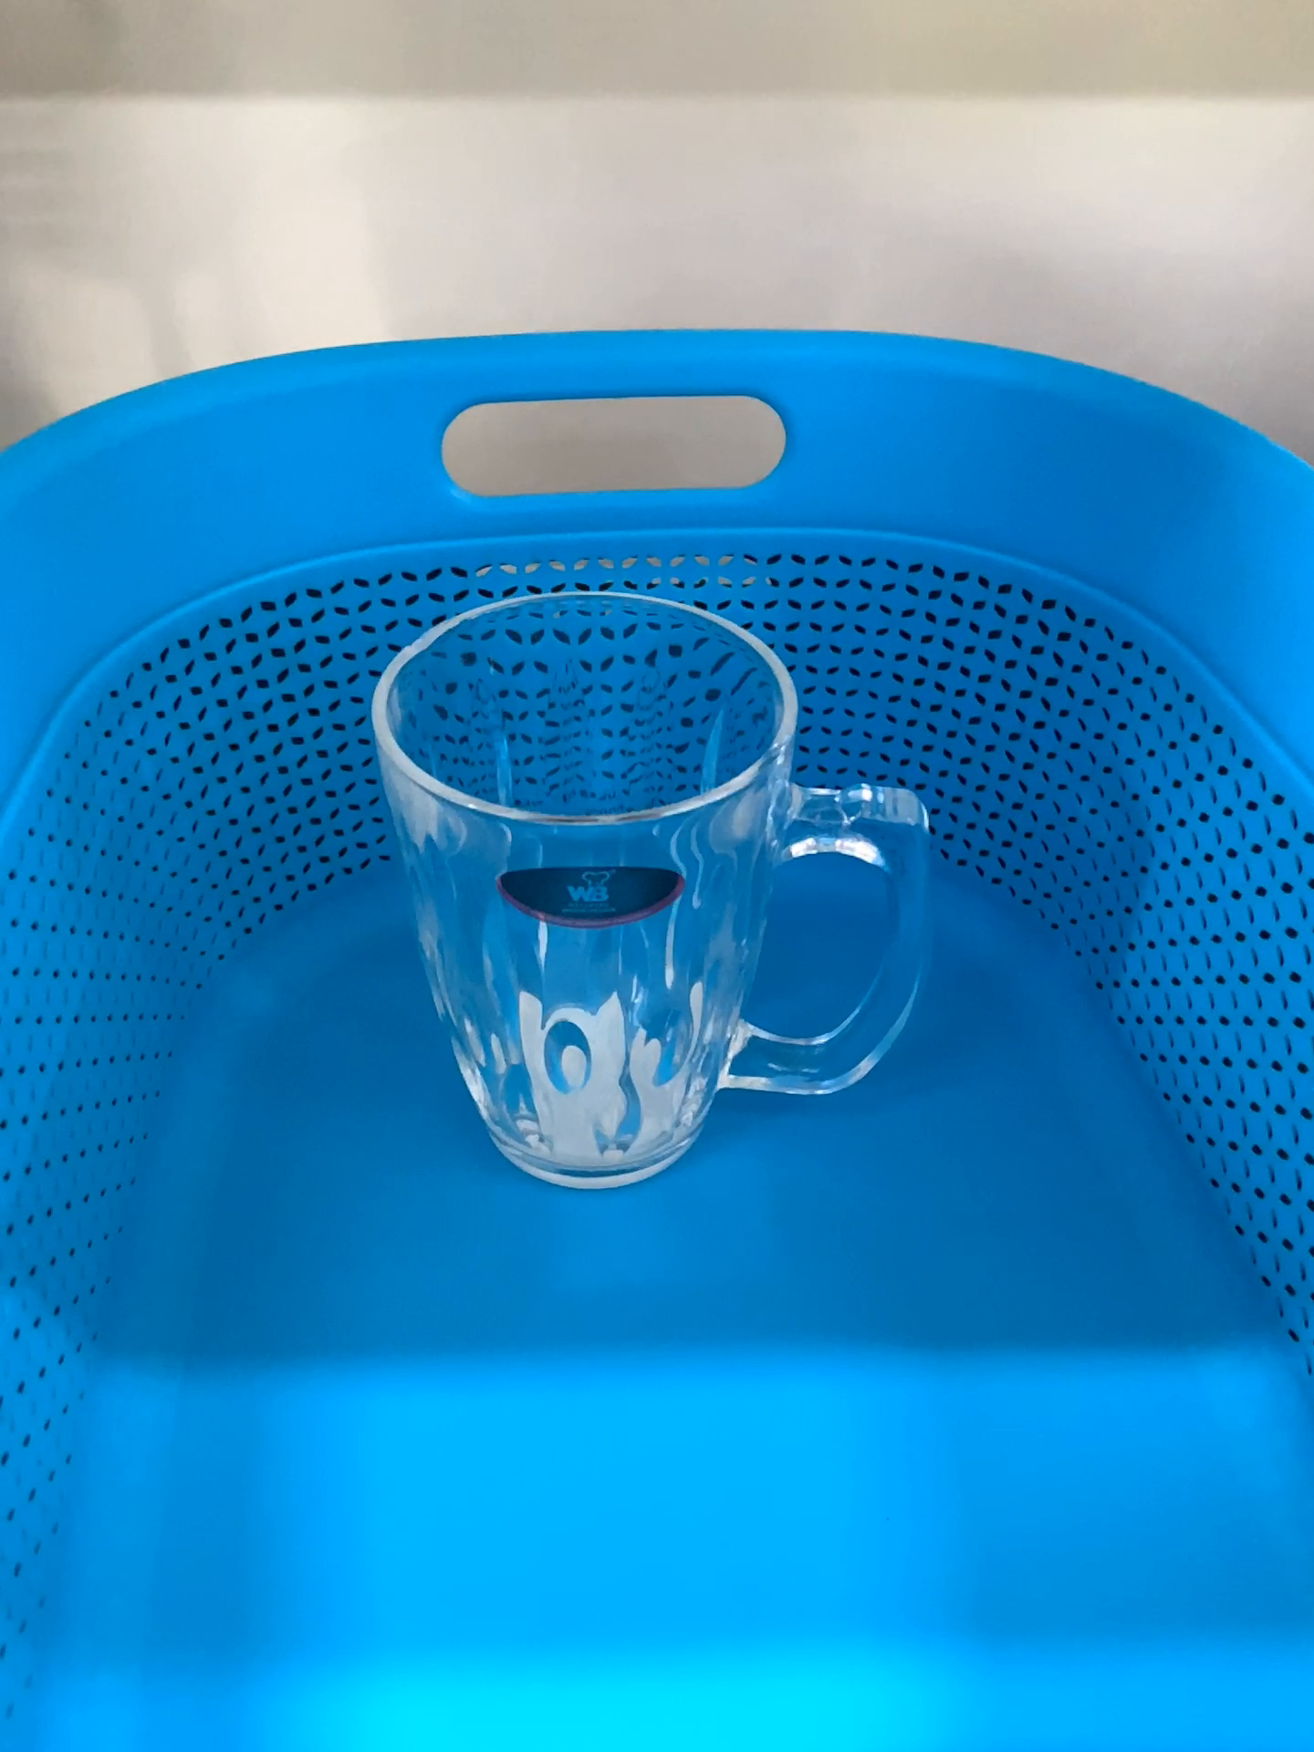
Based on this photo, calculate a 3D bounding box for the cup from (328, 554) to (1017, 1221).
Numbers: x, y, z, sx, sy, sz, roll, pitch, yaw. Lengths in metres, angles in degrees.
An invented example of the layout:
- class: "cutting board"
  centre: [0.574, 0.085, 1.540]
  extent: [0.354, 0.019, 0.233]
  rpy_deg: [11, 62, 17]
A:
- class: "cup"
  centre: [0.003, 0.003, 0.283]
  extent: [0.110, 0.109, 0.081]
  rpy_deg: [2, 40, 1]
